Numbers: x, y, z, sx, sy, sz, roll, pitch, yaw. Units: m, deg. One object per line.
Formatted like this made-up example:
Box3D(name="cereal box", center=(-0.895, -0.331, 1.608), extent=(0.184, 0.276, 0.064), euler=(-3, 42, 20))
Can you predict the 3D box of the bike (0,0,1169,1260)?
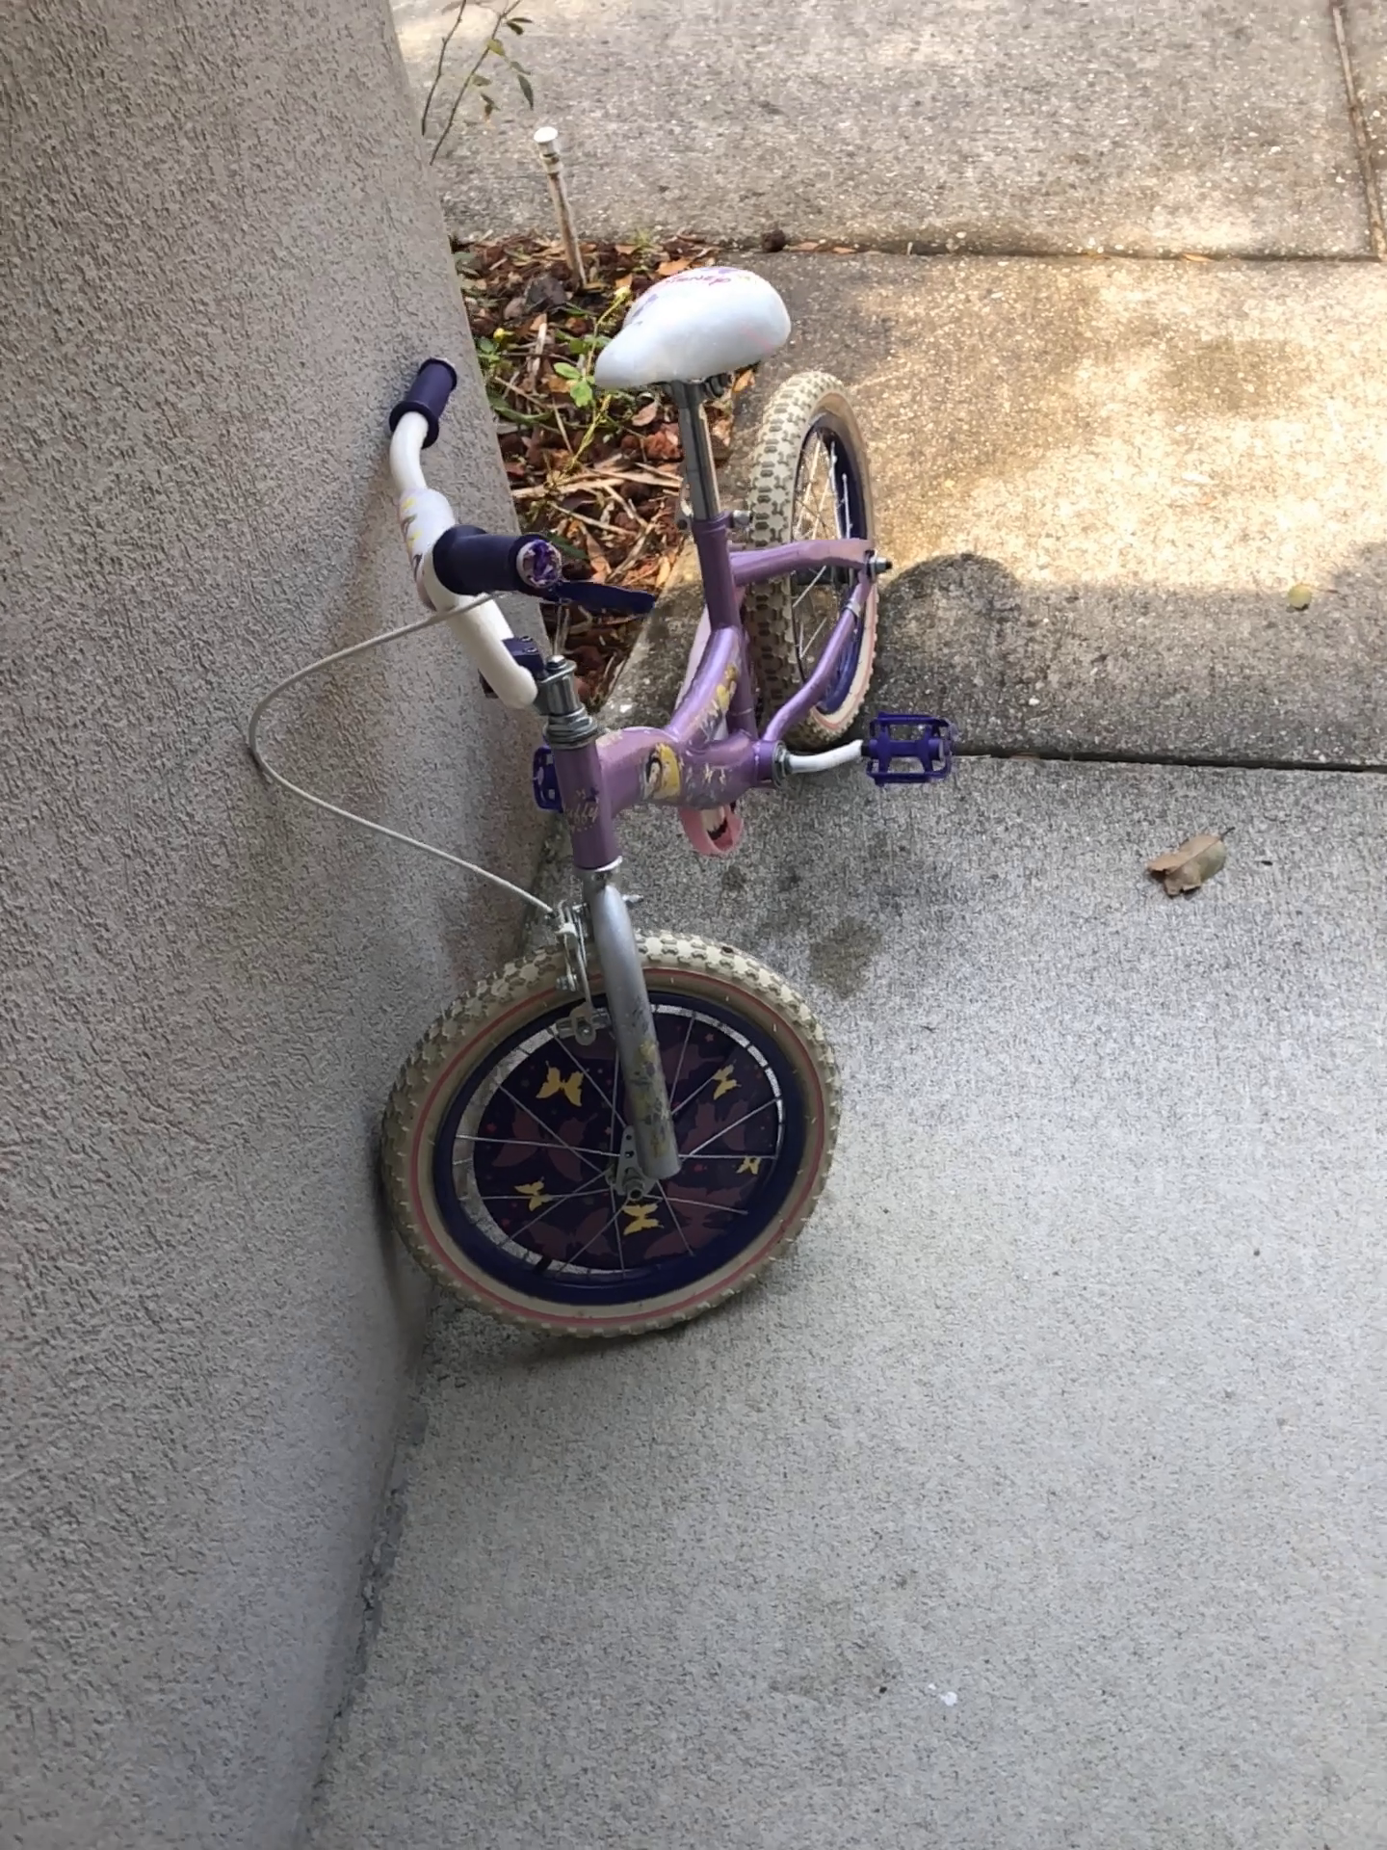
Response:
Box3D(name="bike", center=(-0.004, -0.329, 1.335), extent=(0.615, 0.817, 0.849), euler=(10, 58, 14))
